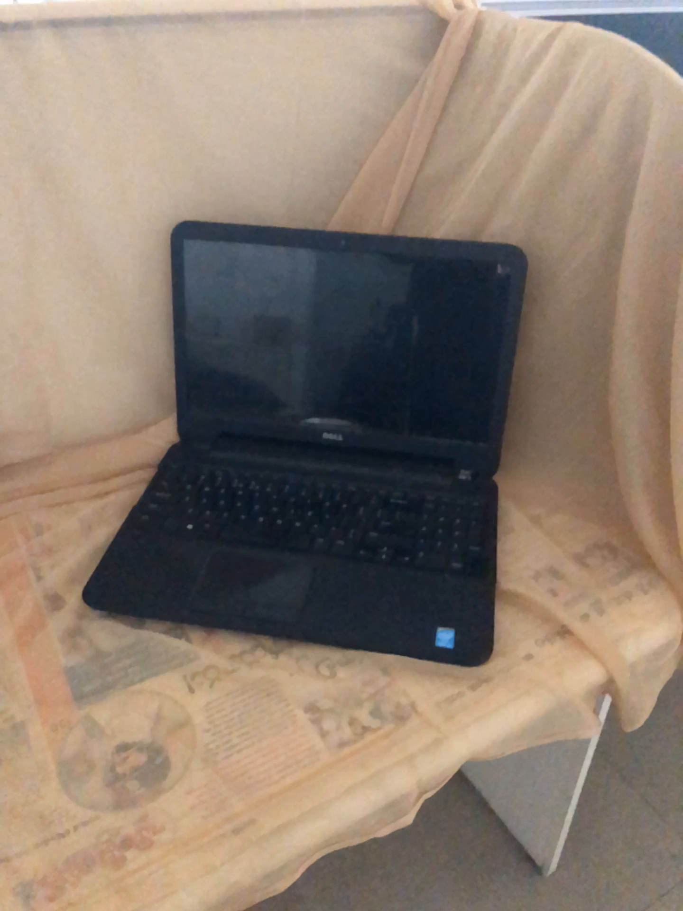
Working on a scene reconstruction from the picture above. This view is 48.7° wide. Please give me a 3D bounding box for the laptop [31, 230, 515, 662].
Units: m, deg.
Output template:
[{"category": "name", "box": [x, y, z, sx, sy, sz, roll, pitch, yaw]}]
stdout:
[{"category": "laptop", "box": [-0.029, -0.033, 0.711, 0.348, 0.225, 0.307, 7, 36, 8]}]
